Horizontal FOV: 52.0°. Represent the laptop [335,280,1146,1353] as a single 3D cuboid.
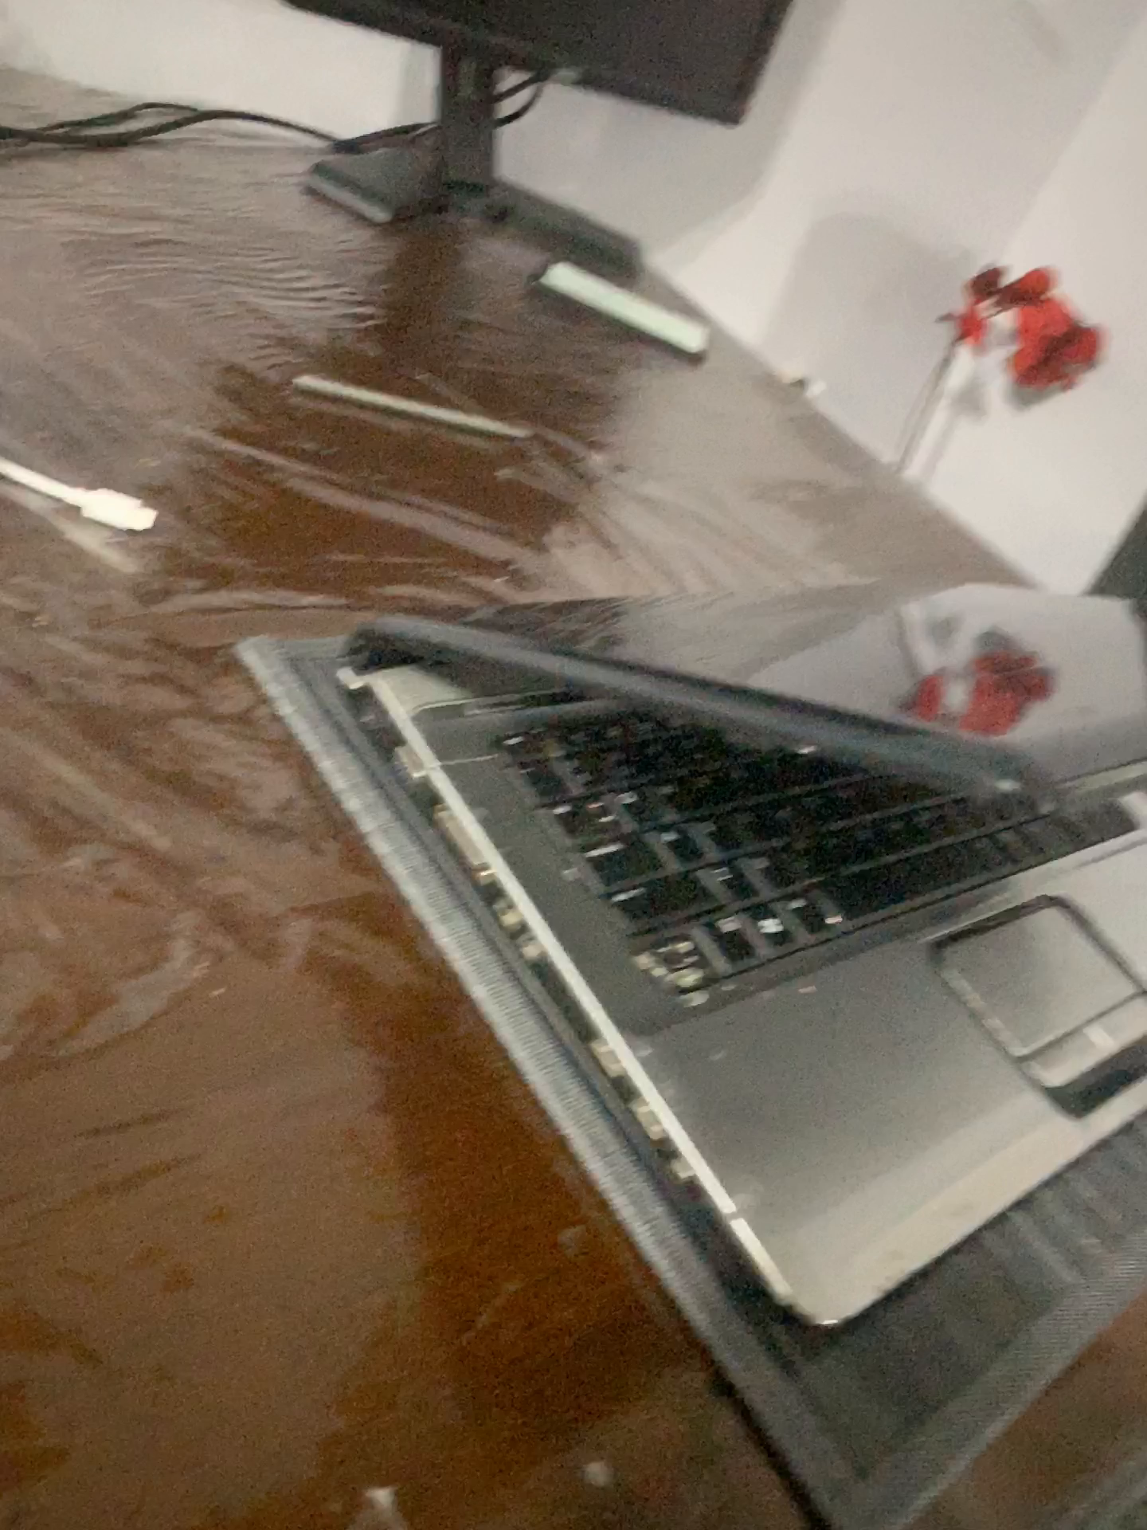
[{"bbox_3d":[0.132,-0.024,0.398,0.344,0.108,0.244,-10,52,-42],"label":"laptop"}]
